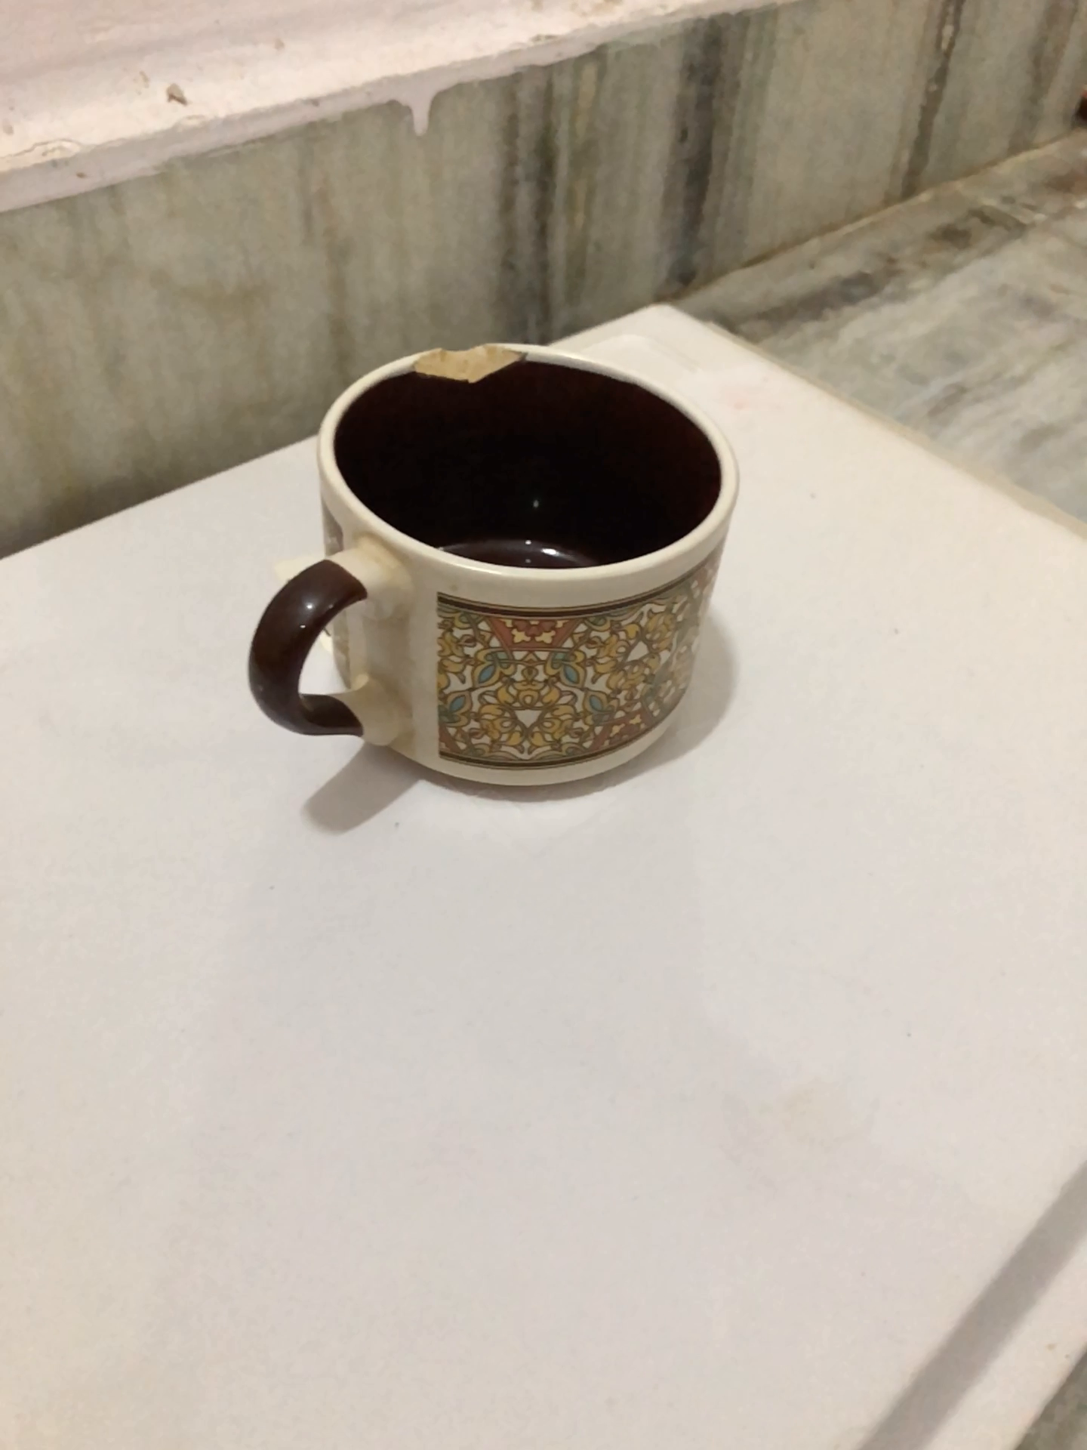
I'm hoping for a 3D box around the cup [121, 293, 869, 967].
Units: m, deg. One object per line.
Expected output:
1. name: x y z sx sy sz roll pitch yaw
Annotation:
1. cup: -0.008 -0.025 0.229 0.100 0.060 0.080 -30 55 -31
